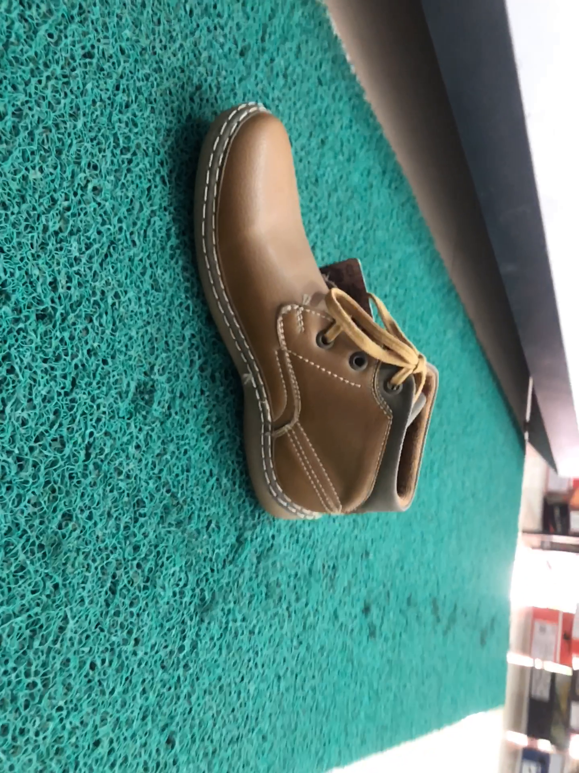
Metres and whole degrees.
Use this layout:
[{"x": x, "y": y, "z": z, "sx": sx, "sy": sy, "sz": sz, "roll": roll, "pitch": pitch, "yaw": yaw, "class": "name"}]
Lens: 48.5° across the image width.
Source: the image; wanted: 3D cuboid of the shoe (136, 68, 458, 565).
[{"x": 0.023, "y": -0.036, "z": 0.429, "sx": 0.101, "sy": 0.129, "sz": 0.291, "roll": -48, "pitch": 132, "yaw": -51, "class": "shoe"}]
